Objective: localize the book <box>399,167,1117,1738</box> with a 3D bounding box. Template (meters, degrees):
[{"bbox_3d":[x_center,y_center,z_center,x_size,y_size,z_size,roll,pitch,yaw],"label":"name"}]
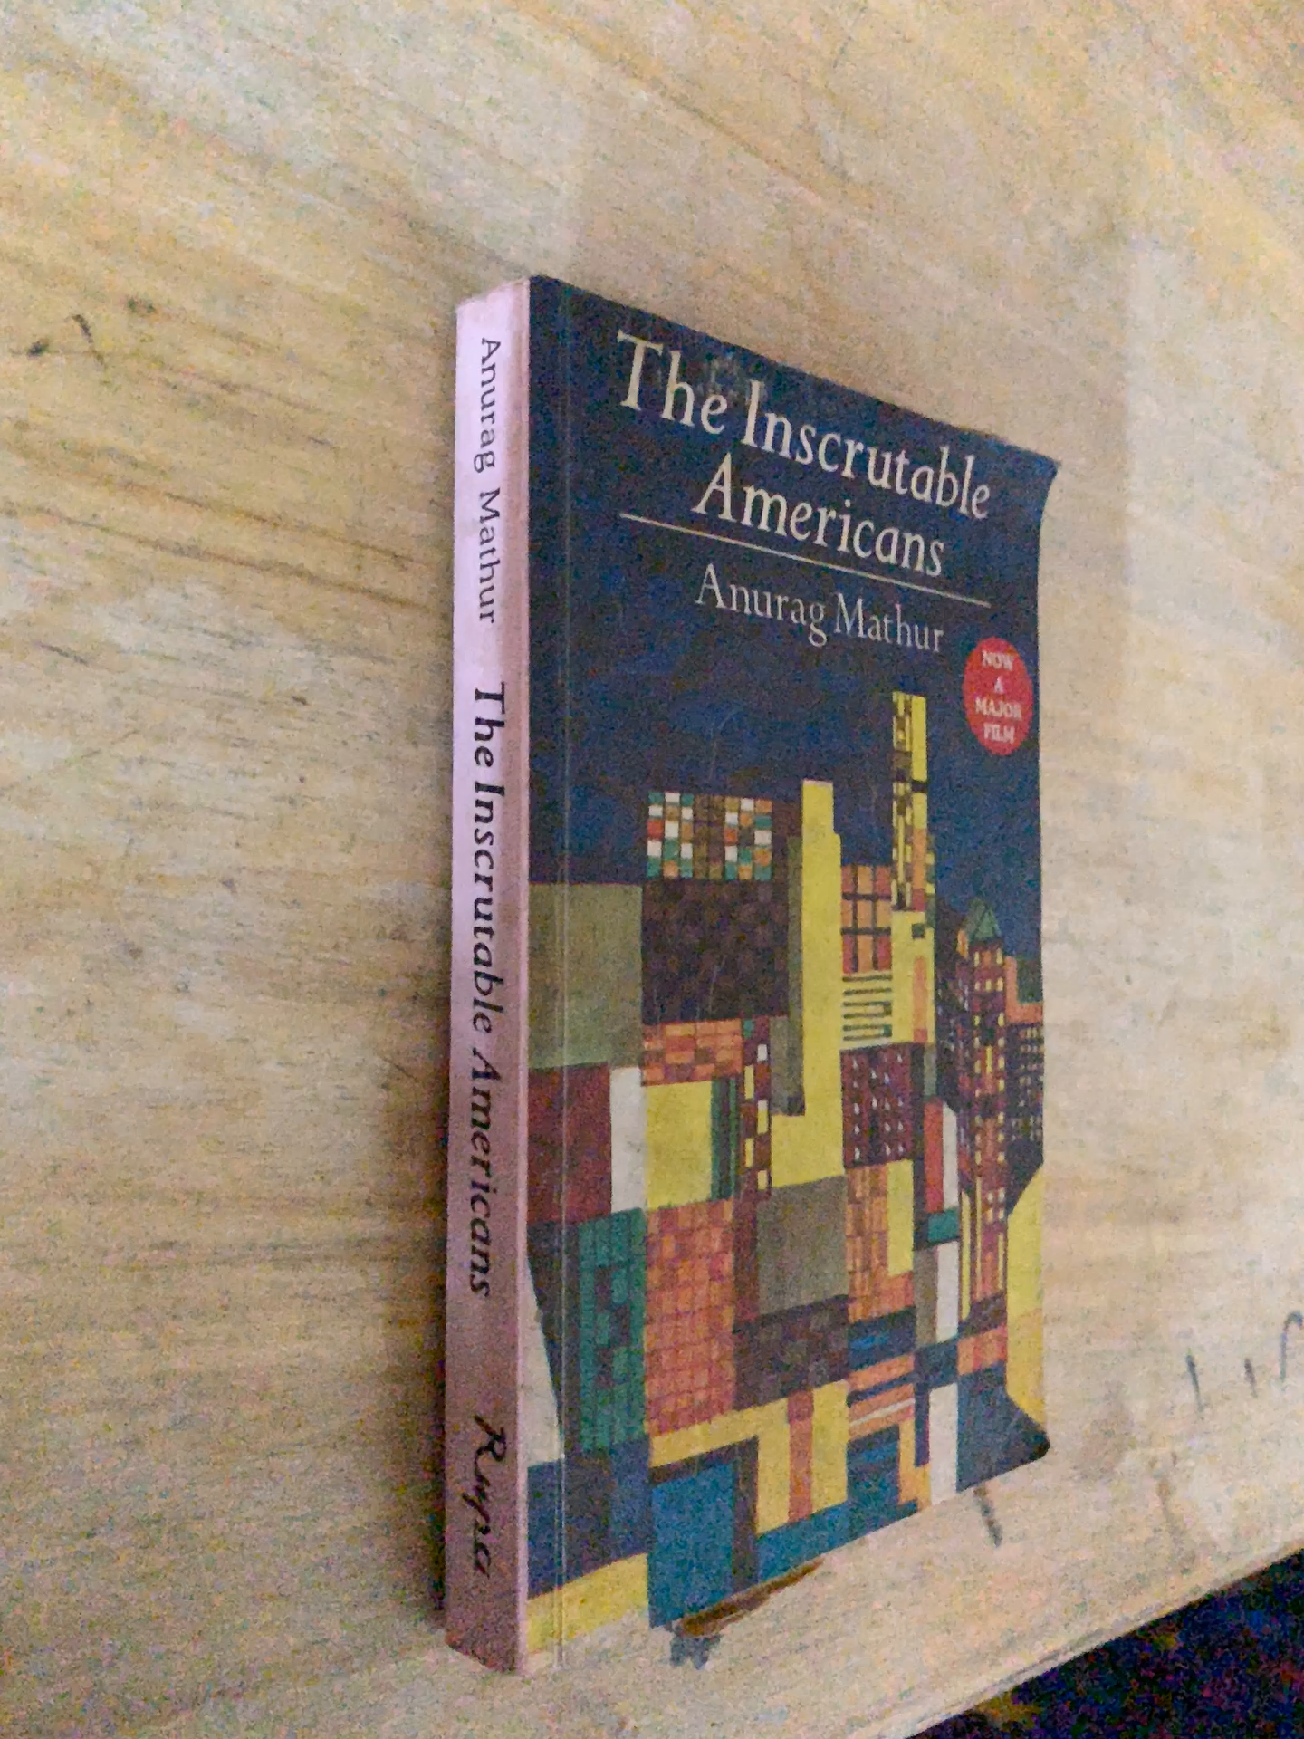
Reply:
[{"bbox_3d":[0.023,0.010,0.206,0.121,0.030,0.180,2,87,-41],"label":"book"}]
